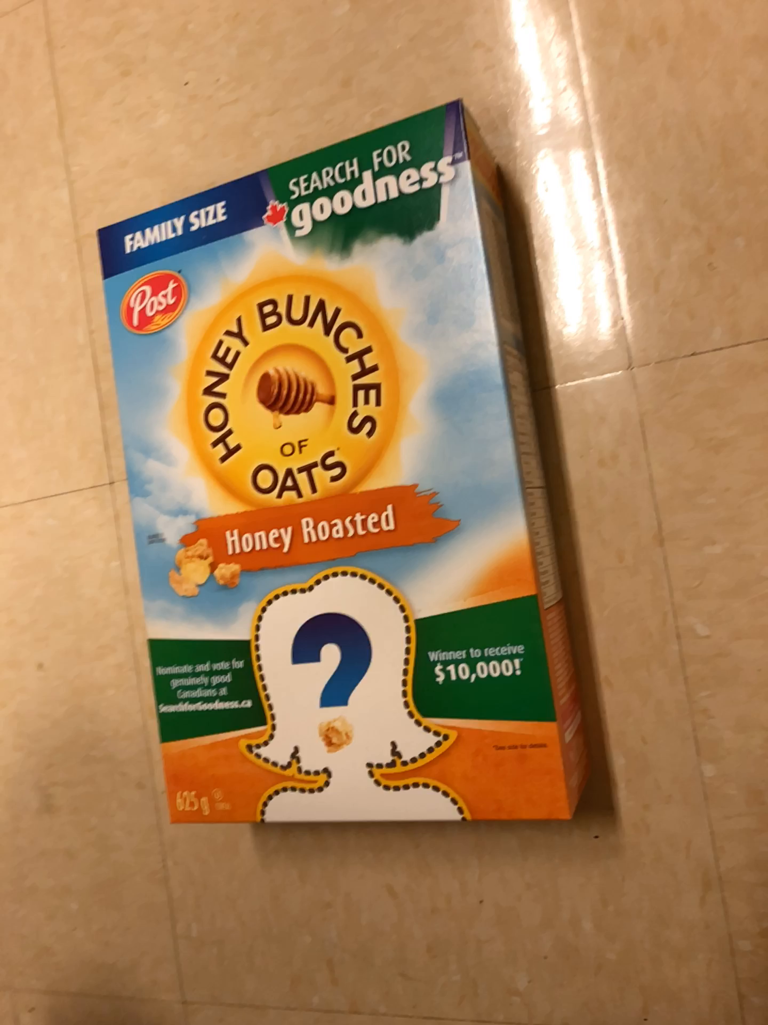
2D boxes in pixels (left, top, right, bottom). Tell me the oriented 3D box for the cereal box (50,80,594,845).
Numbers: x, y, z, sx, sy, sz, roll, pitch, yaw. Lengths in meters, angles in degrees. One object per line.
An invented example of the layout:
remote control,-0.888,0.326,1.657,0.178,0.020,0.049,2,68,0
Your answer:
cereal box,-0.036,-0.009,0.388,0.210,0.070,0.290,-9,84,22
